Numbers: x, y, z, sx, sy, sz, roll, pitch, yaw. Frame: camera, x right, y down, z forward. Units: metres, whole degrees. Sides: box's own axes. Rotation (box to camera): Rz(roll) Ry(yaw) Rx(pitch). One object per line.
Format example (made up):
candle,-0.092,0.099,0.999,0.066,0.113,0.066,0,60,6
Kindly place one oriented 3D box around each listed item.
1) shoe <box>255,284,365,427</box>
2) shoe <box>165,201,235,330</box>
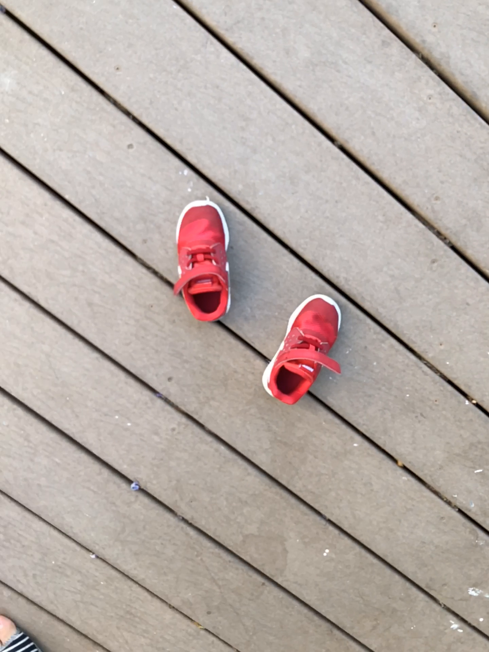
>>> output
shoe,0.083,0.038,0.727,0.069,0.069,0.164,26,103,-7
shoe,-0.054,-0.079,0.698,0.073,0.069,0.153,-4,105,0
